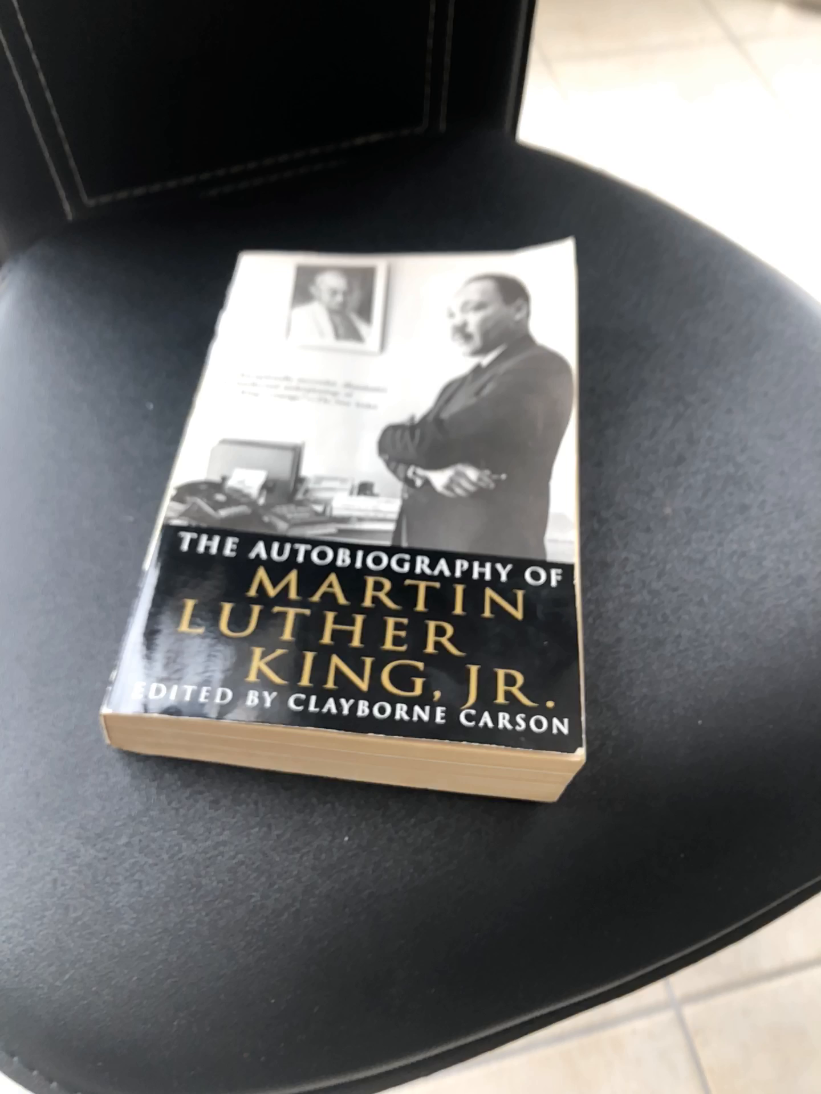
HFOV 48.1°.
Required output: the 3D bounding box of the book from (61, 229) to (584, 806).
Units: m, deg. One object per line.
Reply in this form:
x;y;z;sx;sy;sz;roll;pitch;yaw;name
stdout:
-0.015;-0.027;0.358;0.160;0.050;0.231;2;57;7;book
